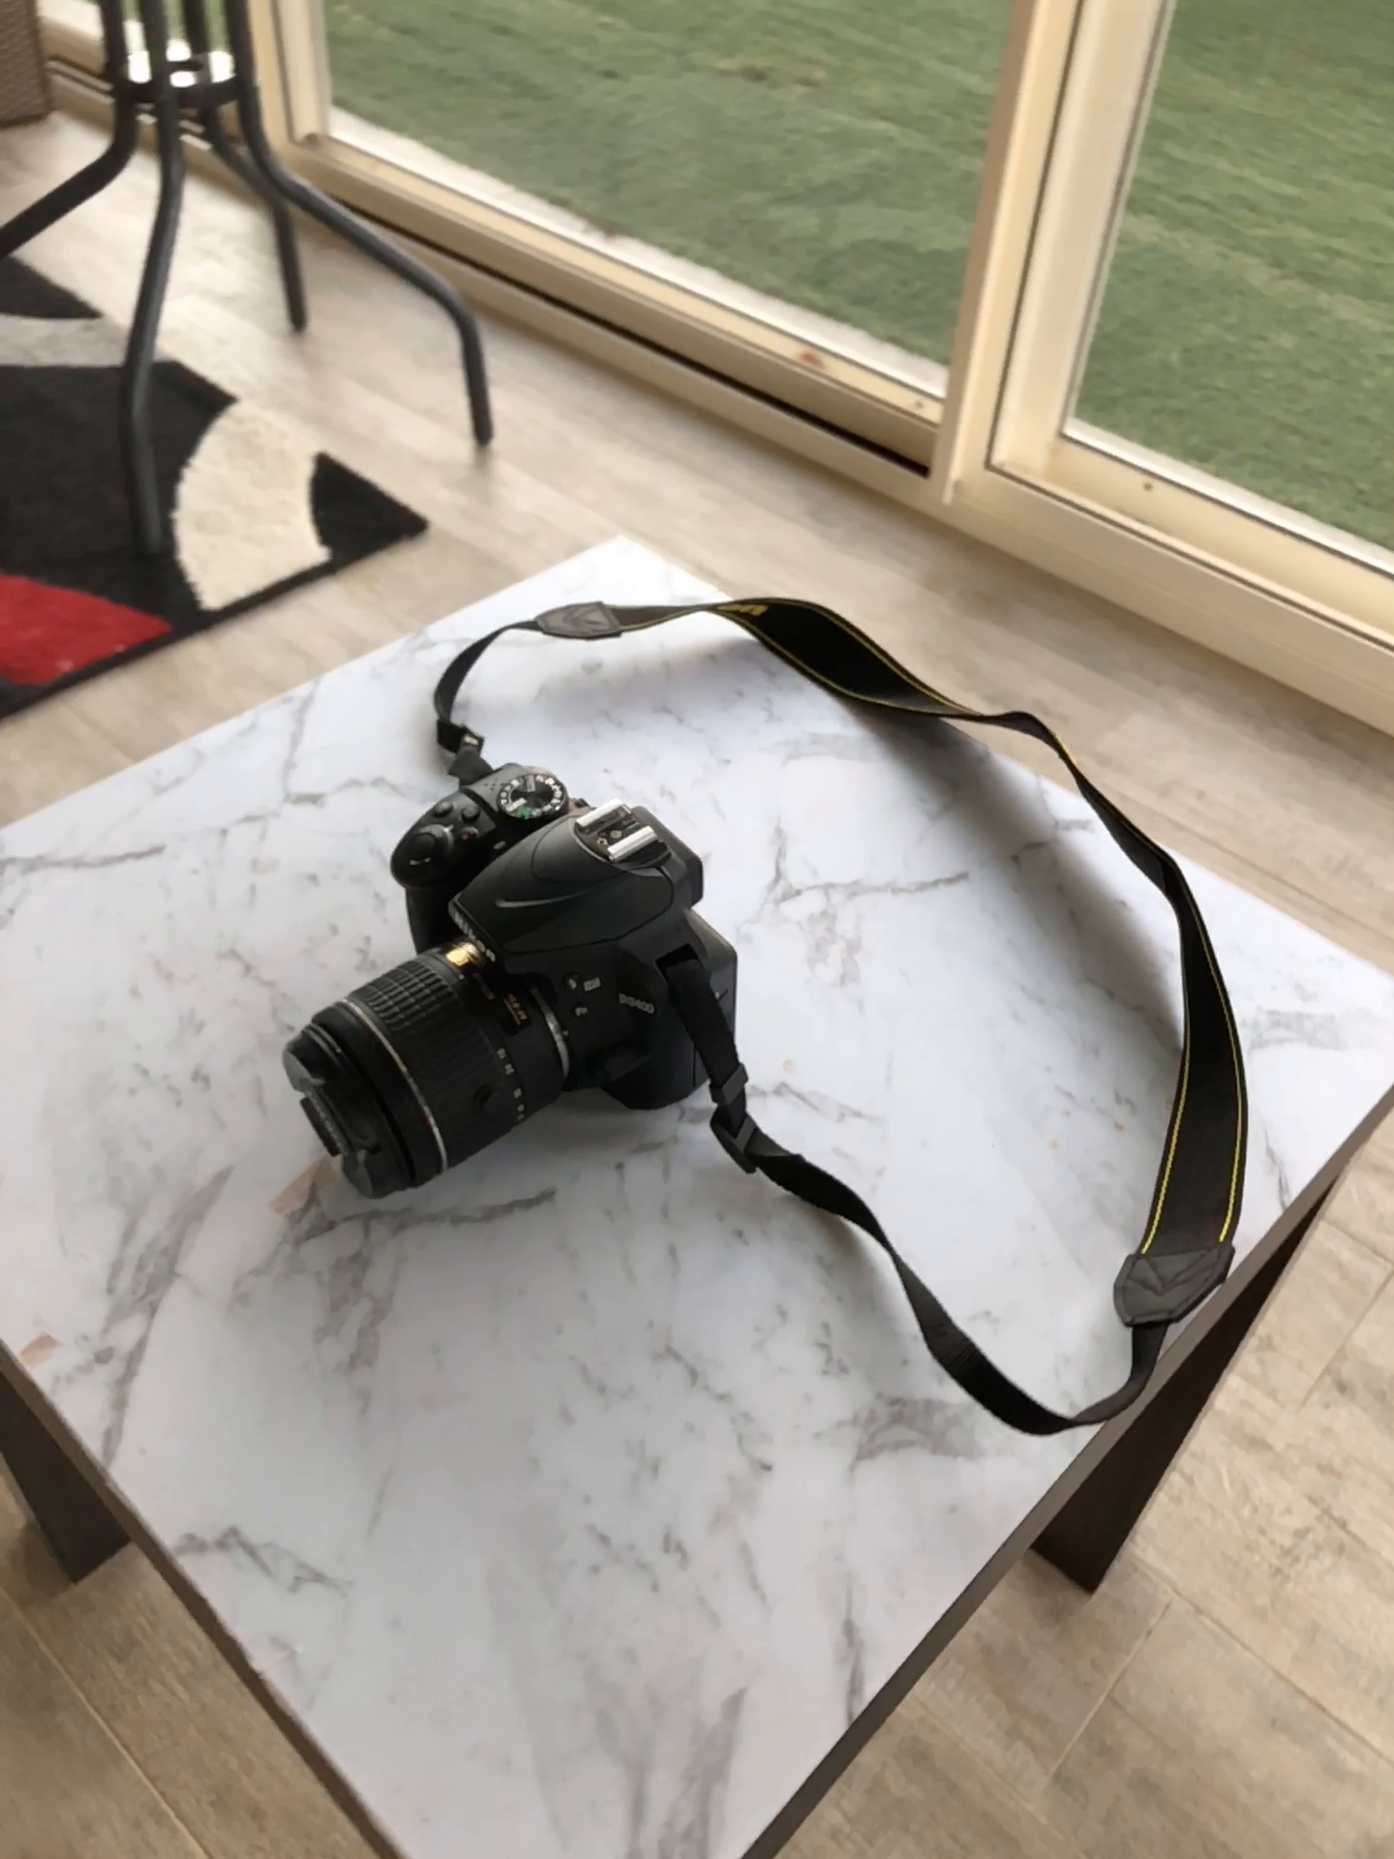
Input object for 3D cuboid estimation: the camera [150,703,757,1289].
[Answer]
[{"bbox_3d":[-0.074,0.015,0.493,0.138,0.076,0.122,-32,55,-28],"label":"camera"}]
